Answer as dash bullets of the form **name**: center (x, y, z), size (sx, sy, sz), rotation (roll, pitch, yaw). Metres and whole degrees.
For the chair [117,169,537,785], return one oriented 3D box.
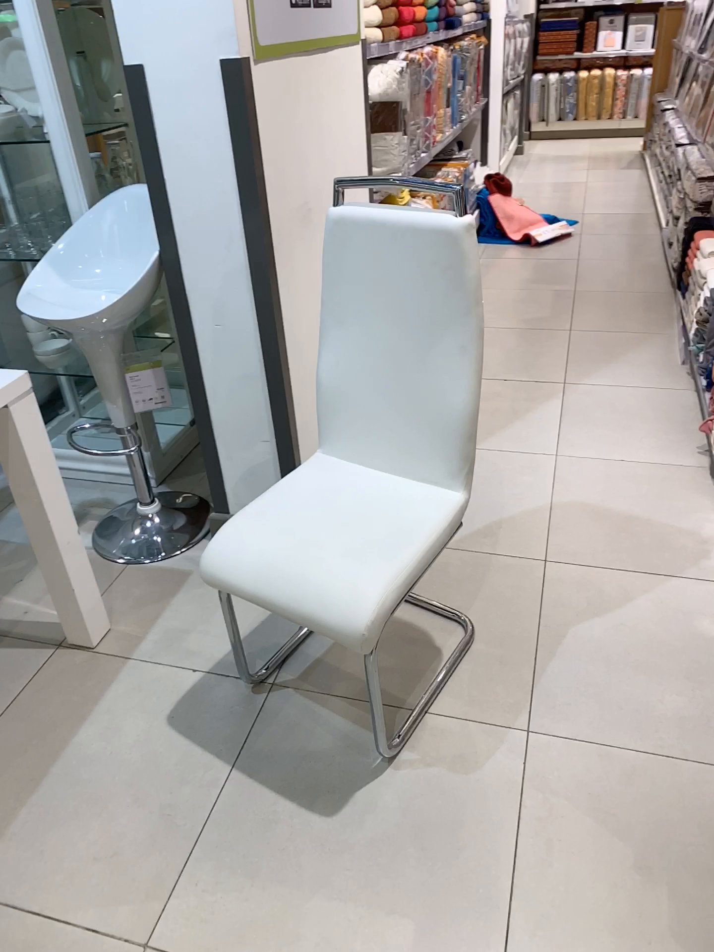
- **chair**: center (0.001, -0.014, 1.460), size (0.481, 1.026, 0.521), rotation (16, 37, 31)
